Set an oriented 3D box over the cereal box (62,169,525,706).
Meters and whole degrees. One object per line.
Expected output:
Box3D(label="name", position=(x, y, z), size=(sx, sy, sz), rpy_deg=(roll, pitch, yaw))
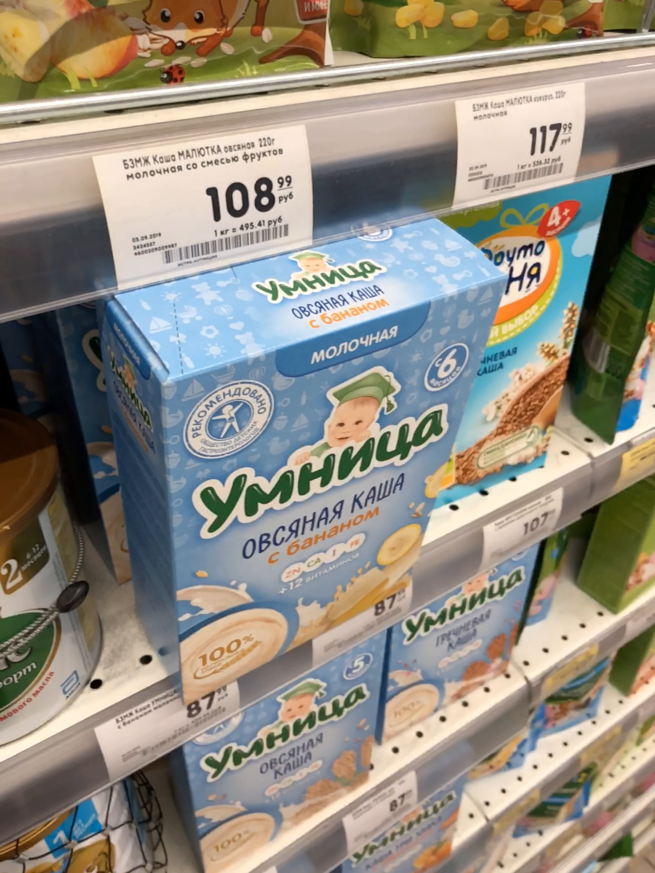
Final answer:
Box3D(label="cereal box", position=(-0.016, 0.008, 0.321), size=(0.150, 0.209, 0.060), rpy_deg=(-22, 50, -27))
